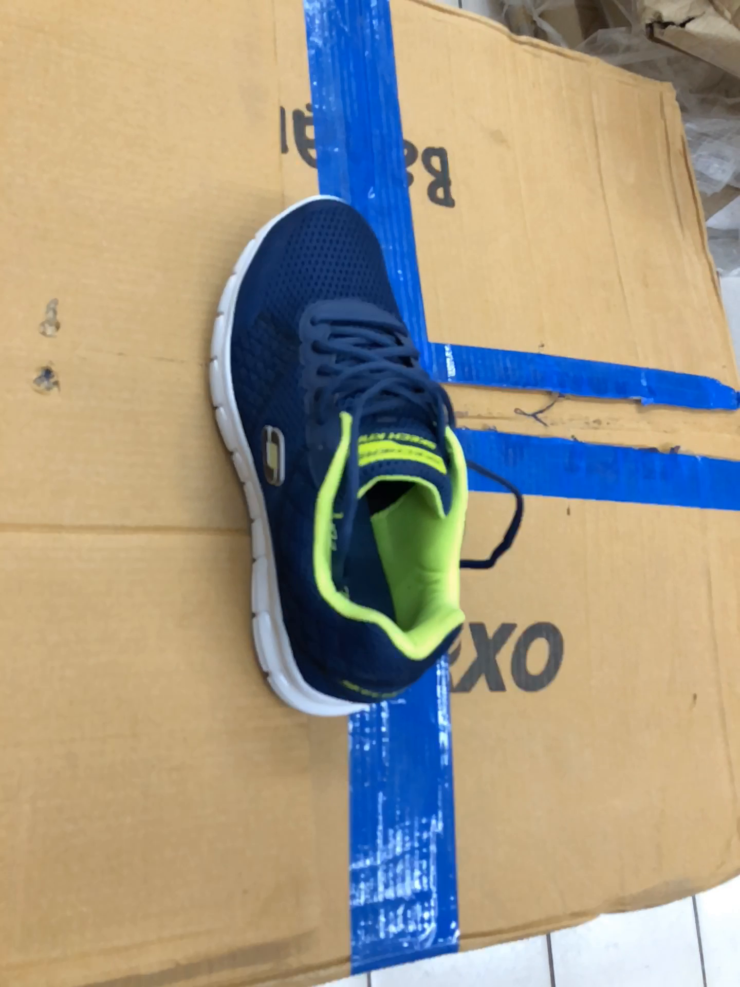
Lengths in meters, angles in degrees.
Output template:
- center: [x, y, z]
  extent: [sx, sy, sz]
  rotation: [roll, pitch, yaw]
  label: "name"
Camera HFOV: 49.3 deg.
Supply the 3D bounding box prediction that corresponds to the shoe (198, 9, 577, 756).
- center: [-0.008, -0.042, 0.401]
  extent: [0.107, 0.146, 0.307]
  rotation: [0, 77, -26]
  label: "shoe"
